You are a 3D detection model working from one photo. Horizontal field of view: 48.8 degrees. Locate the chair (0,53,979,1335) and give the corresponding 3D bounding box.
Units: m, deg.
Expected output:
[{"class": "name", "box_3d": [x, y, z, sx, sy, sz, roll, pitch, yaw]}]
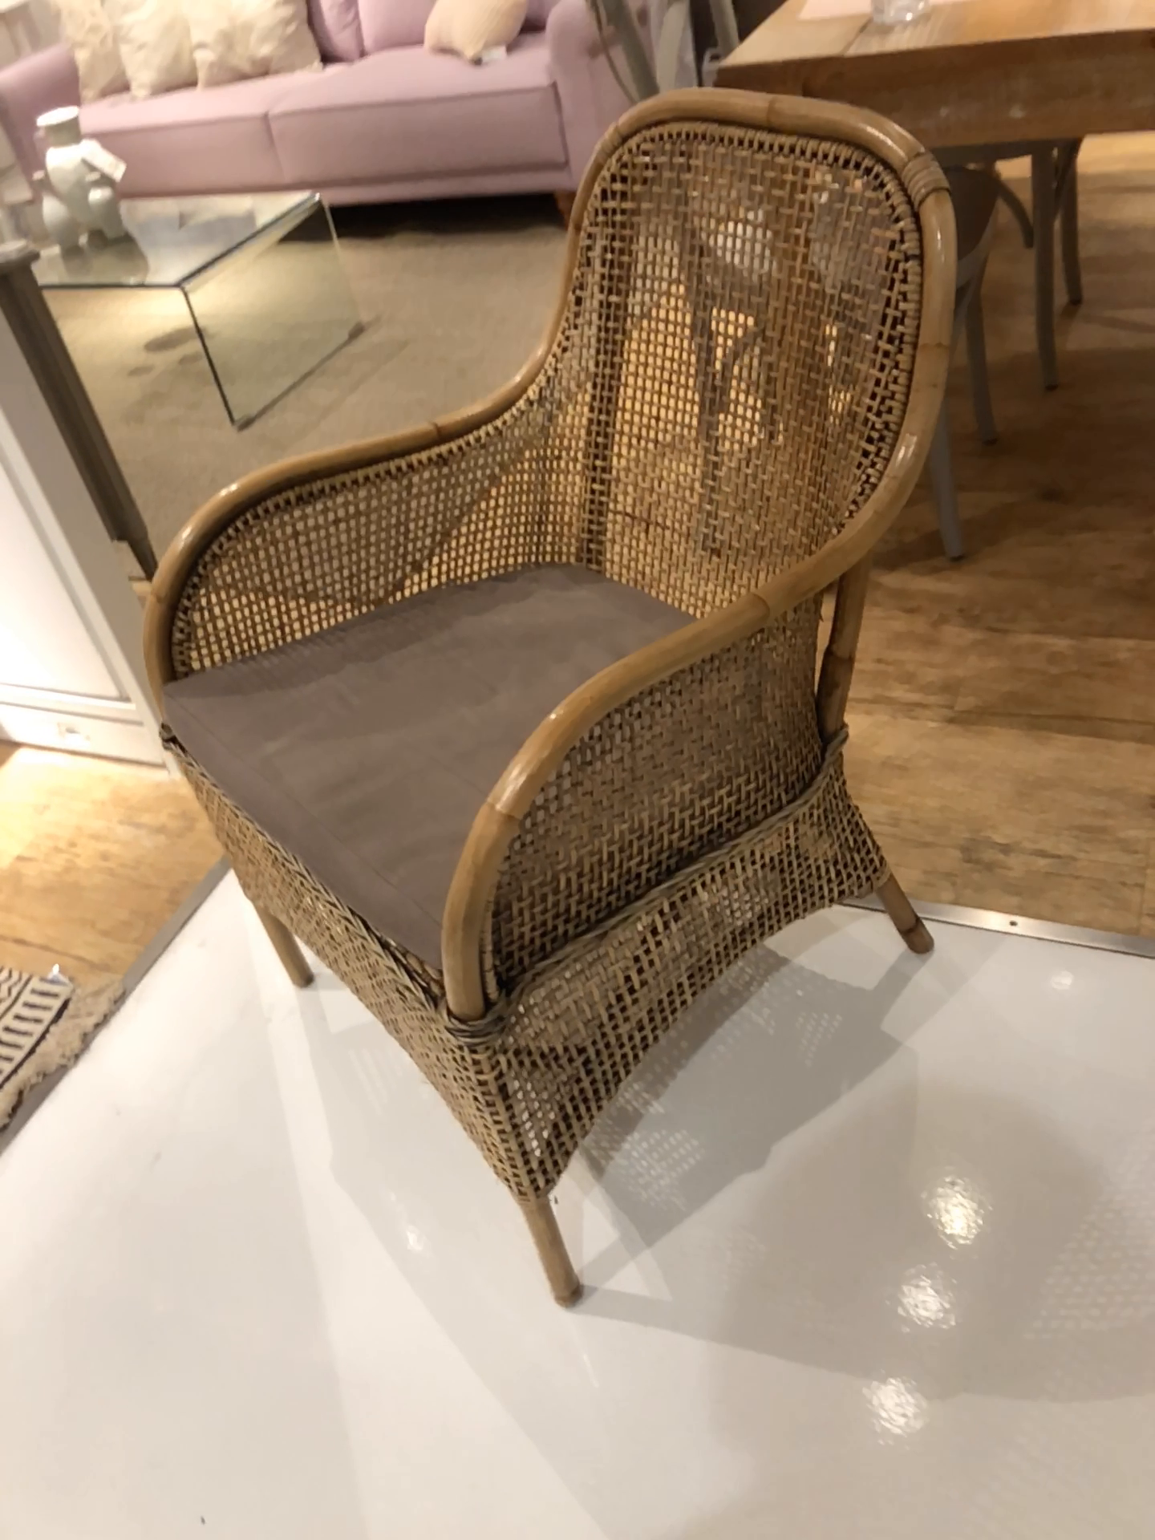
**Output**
[{"class": "chair", "box_3d": [-0.043, -0.085, 1.213, 0.622, 0.904, 0.542, -35, 44, -24]}]
